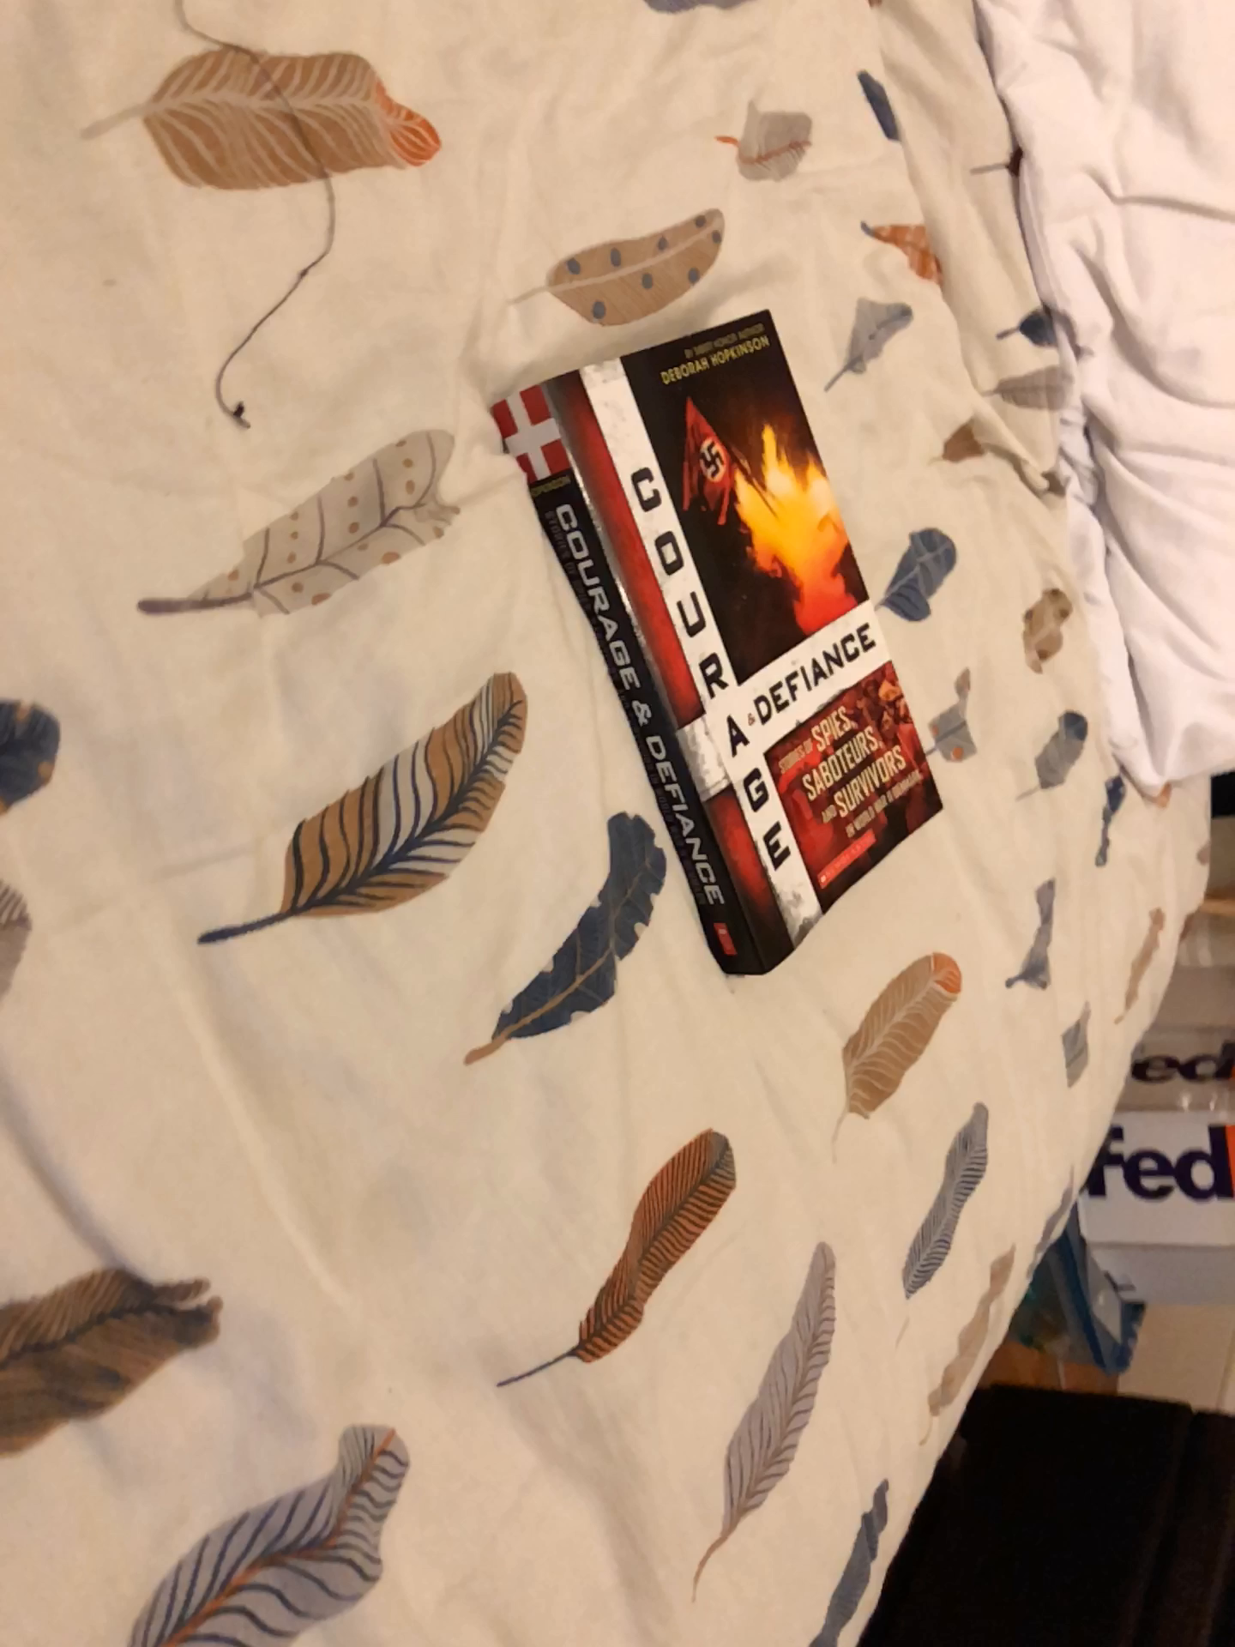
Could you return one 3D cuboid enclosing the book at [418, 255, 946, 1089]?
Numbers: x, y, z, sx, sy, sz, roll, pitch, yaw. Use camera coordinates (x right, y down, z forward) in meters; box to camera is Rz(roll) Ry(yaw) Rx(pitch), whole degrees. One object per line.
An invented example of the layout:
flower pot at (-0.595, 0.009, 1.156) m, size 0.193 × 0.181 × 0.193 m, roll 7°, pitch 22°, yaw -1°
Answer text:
book at (0.043, -0.063, 0.473) m, size 0.201 × 0.020 × 0.230 m, roll -45°, pitch 119°, yaw -49°
